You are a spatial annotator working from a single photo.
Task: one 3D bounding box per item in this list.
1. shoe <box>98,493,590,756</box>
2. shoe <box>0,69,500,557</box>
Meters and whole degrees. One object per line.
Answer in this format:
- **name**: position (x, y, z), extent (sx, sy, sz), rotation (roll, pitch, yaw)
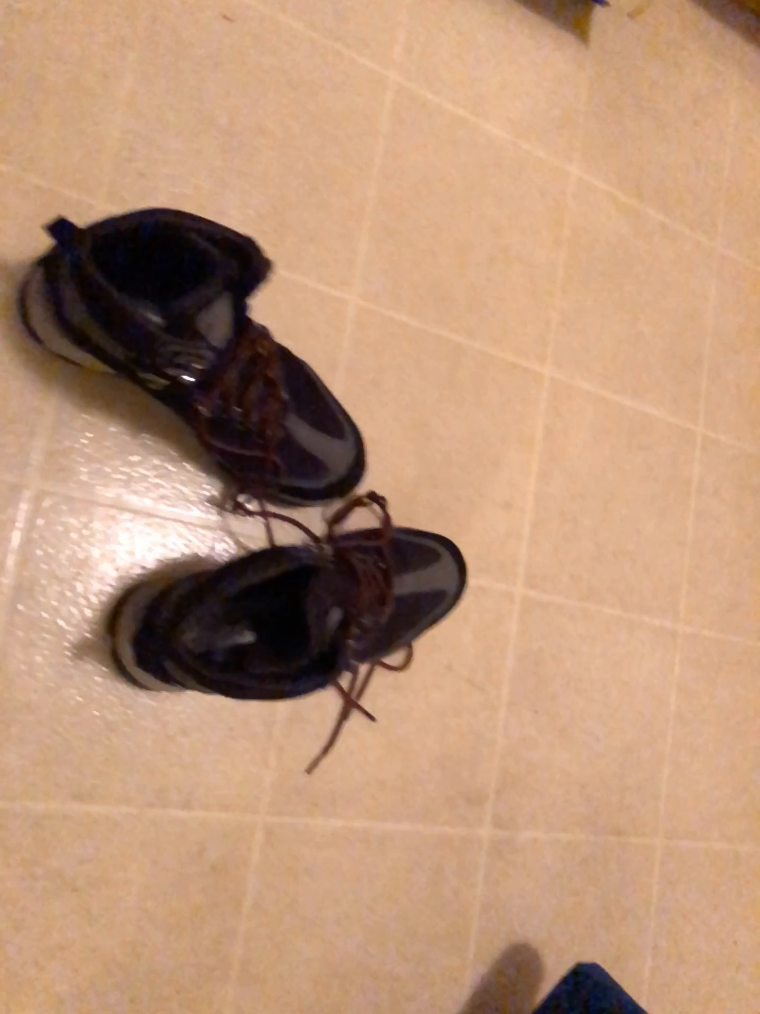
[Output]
- **shoe**: position (-0.031, 0.072, 0.623), extent (0.300, 0.196, 0.116), rotation (-7, 89, -28)
- **shoe**: position (-0.107, -0.104, 0.599), extent (0.309, 0.196, 0.126), rotation (37, 70, -20)
